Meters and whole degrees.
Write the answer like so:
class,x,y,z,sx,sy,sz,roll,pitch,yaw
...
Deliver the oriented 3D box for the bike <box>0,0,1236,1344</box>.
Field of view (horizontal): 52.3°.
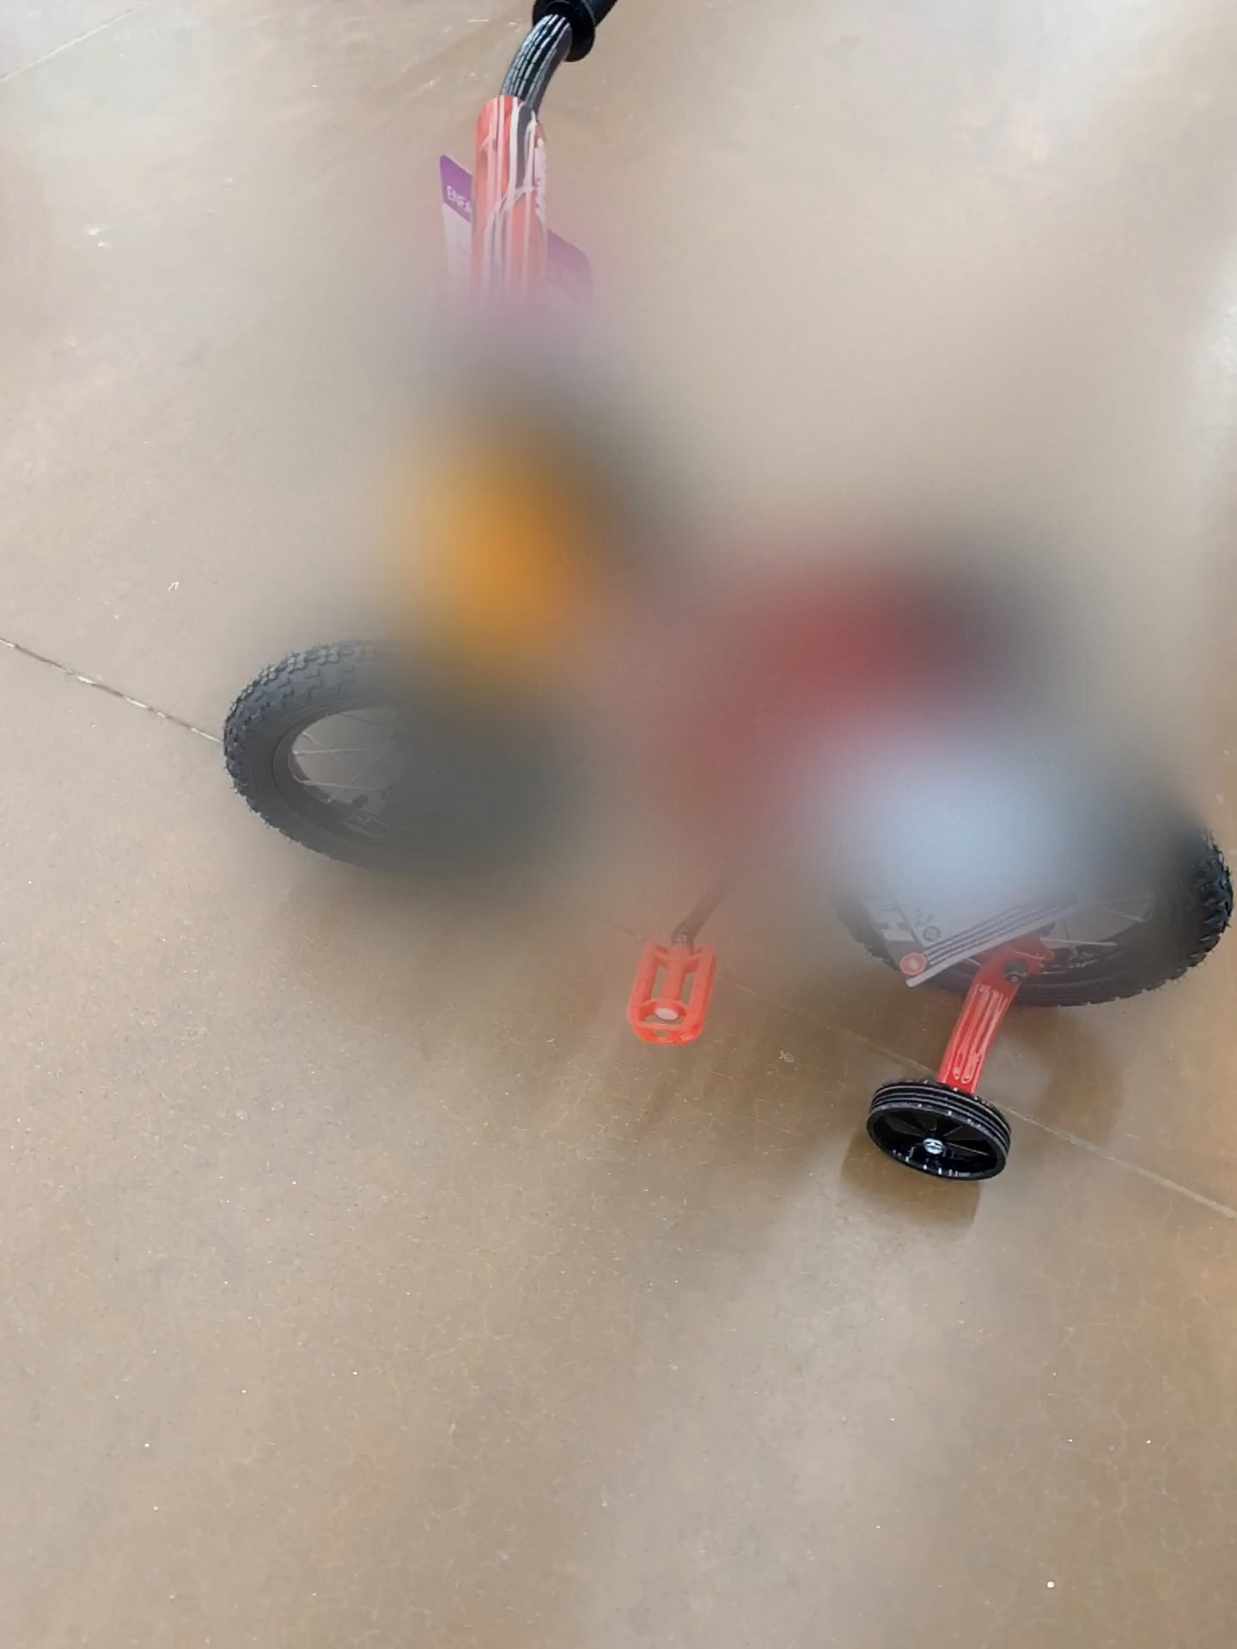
class,x,y,z,sx,sy,sz,roll,pitch,yaw
bike,0.072,-0.090,0.720,0.703,0.626,0.459,11,53,1
